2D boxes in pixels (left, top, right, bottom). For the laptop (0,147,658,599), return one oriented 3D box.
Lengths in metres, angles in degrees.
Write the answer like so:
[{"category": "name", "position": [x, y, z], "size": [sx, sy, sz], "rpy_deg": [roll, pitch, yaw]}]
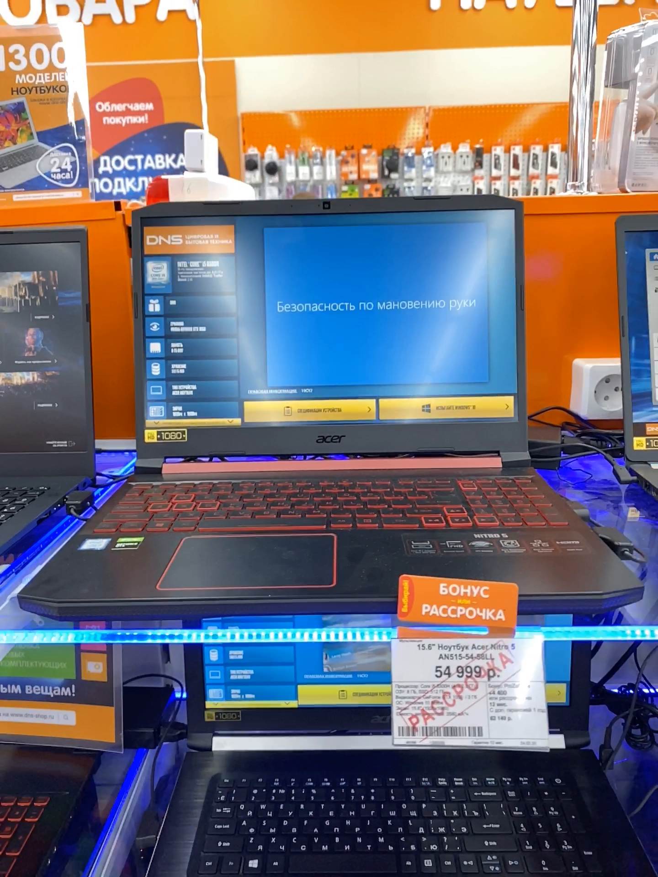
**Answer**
[{"category": "laptop", "position": [-0.002, -0.063, 0.507], "size": [0.360, 0.237, 0.303], "rpy_deg": [-1, 13, 0]}]
